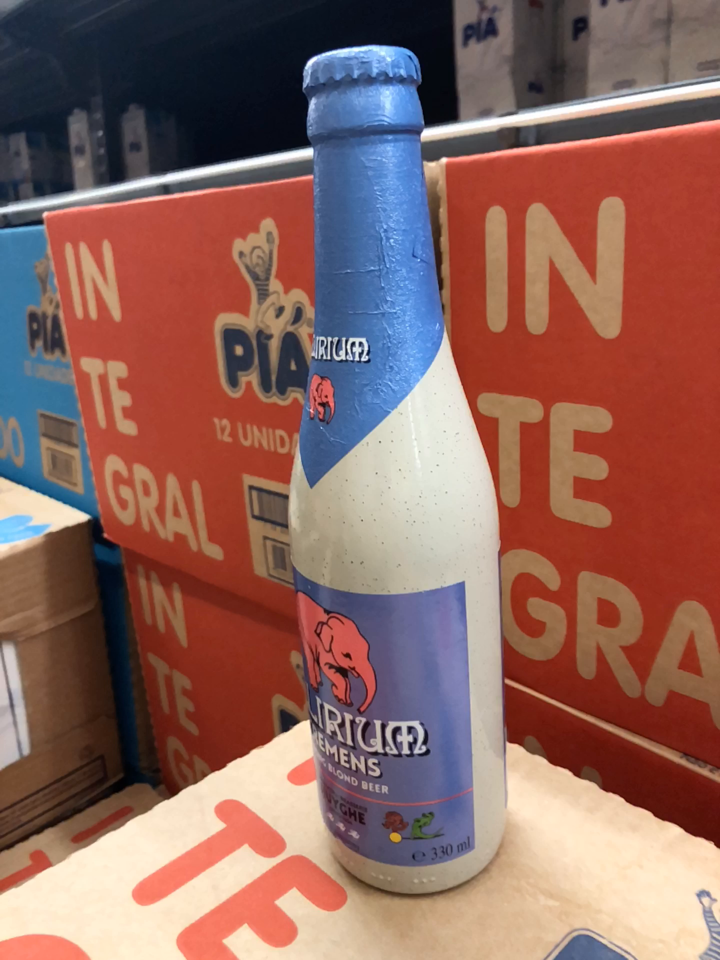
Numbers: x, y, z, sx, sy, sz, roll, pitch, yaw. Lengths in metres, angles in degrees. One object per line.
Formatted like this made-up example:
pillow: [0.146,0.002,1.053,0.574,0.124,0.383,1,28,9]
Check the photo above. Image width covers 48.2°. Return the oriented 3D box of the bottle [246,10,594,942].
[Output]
bottle: [0.017,0.004,0.224,0.060,0.219,0.060,-2,15,0]
